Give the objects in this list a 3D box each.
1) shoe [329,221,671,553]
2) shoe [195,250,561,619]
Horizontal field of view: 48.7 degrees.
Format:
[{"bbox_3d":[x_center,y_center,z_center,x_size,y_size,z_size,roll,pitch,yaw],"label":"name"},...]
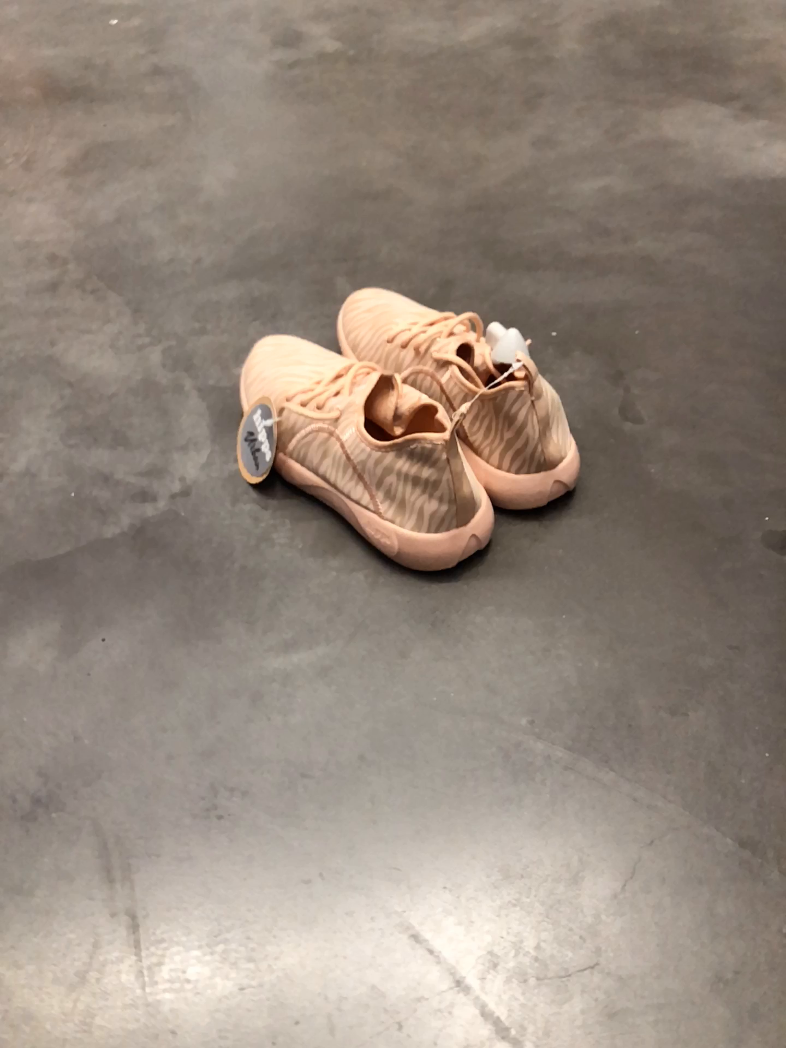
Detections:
[{"bbox_3d":[0.061,-0.105,0.601,0.100,0.099,0.230,-26,51,-22],"label":"shoe"},{"bbox_3d":[-0.017,-0.067,0.550,0.100,0.099,0.230,-29,52,-24],"label":"shoe"}]
